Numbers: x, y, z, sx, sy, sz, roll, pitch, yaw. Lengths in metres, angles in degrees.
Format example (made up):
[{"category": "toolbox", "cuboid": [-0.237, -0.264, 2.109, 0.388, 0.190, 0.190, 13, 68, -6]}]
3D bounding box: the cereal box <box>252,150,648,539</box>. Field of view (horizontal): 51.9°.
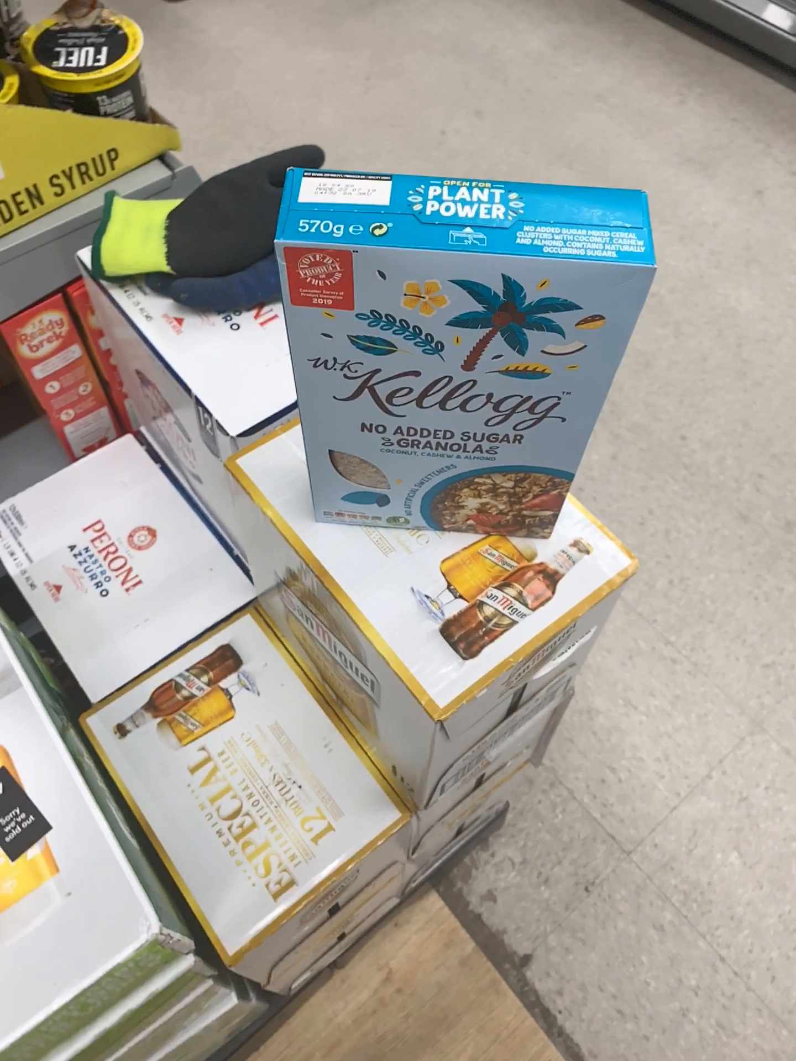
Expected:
[{"category": "cereal box", "cuboid": [0.021, -0.080, 0.452, 0.160, 0.248, 0.050, 4, 62, 1]}]
